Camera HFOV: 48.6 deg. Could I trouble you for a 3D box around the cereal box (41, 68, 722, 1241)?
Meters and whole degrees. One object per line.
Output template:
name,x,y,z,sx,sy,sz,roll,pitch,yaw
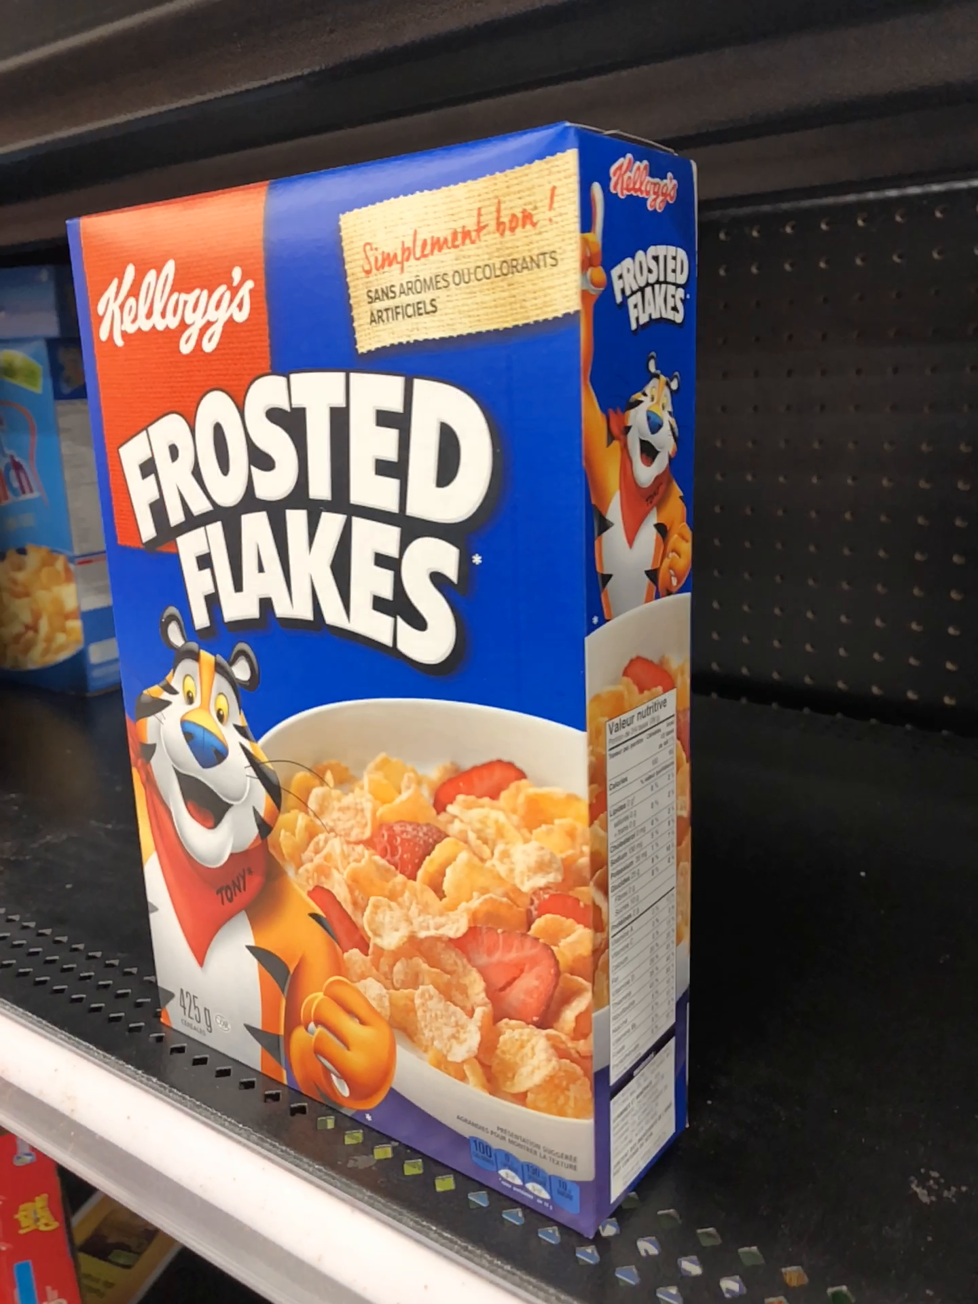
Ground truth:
cereal box,-0.039,-0.001,0.345,0.210,0.289,0.060,8,16,36
